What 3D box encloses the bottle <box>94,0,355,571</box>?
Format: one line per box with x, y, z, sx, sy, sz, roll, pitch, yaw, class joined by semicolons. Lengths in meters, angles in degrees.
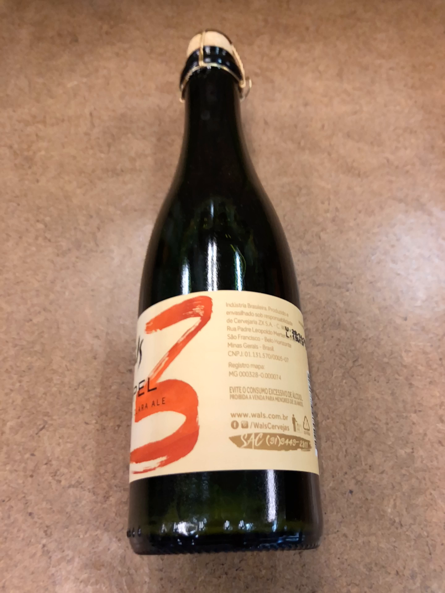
-0.003;-0.038;0.217;0.070;0.050;0.271;-2;64;-1;bottle
